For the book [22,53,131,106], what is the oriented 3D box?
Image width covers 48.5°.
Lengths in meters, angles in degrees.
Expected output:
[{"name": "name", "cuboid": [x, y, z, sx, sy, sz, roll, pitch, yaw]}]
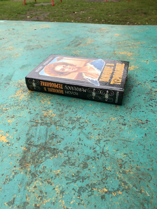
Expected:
[{"name": "book", "cuboid": [0.005, -0.066, 0.391, 0.208, 0.032, 0.139, 9, 38, 14]}]
